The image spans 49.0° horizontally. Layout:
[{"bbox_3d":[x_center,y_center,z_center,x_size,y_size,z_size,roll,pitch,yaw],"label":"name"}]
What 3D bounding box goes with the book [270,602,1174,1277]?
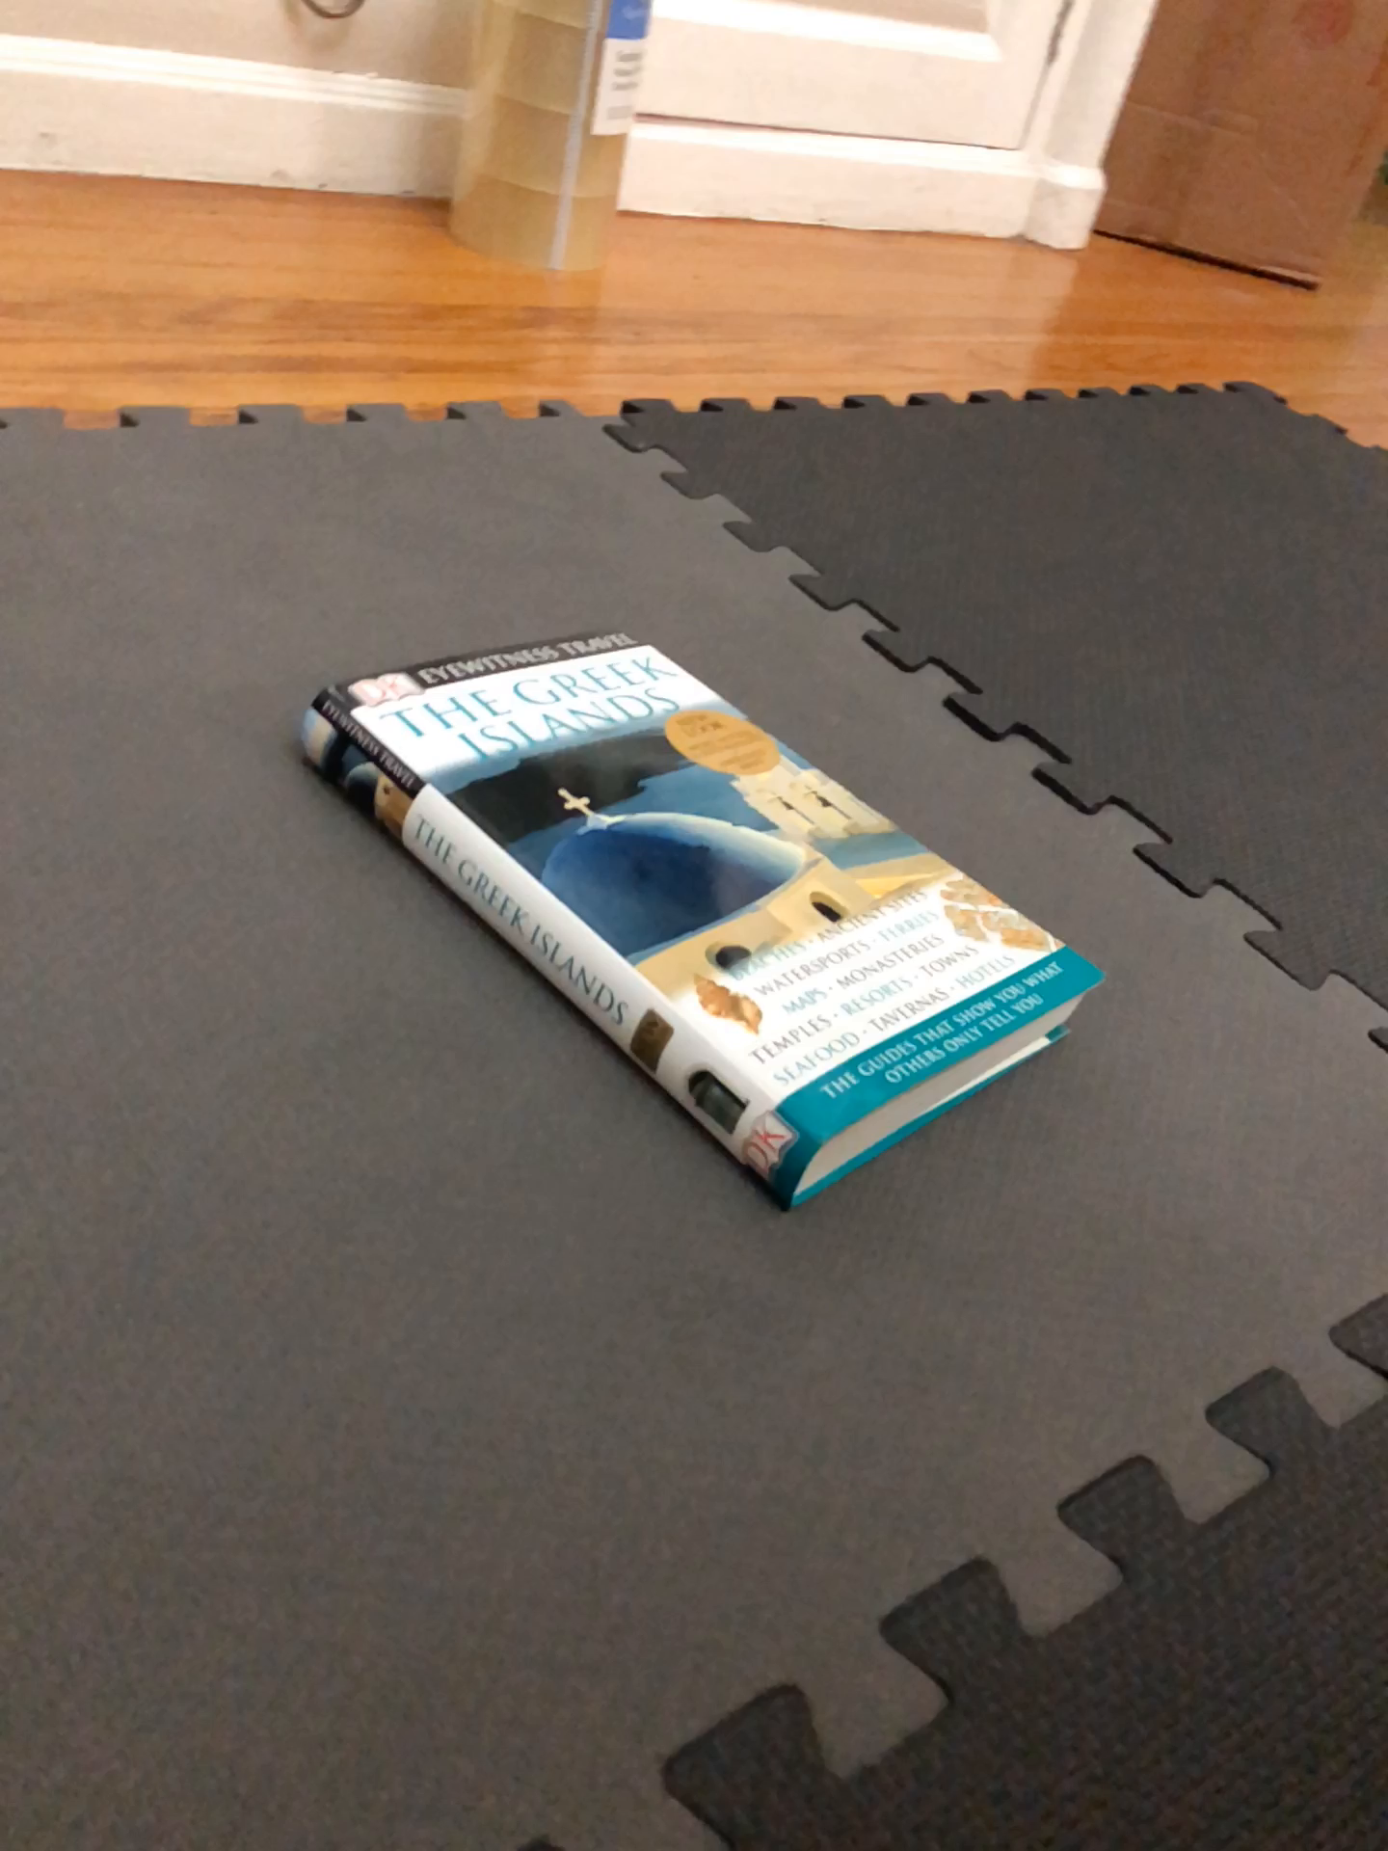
[{"bbox_3d":[0.004,-0.018,0.473,0.161,0.030,0.241,-22,51,-39],"label":"book"}]
